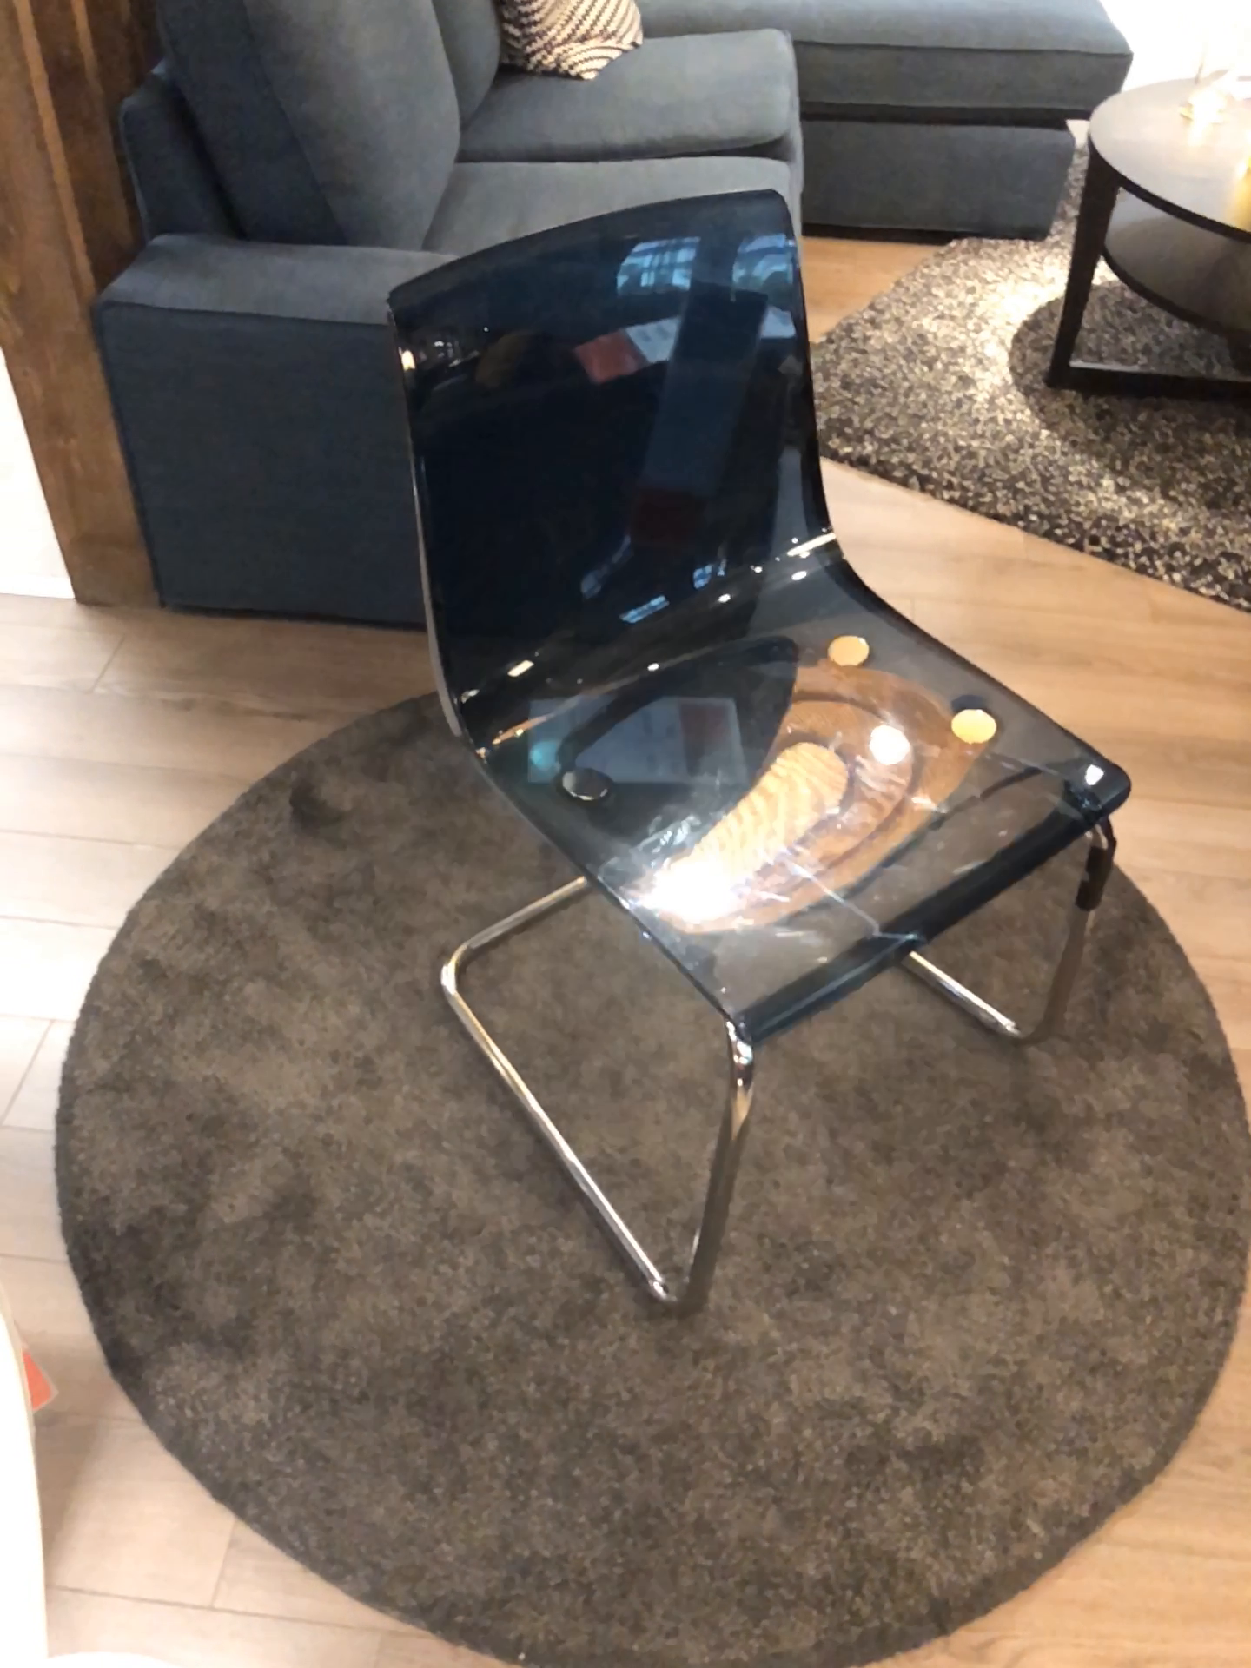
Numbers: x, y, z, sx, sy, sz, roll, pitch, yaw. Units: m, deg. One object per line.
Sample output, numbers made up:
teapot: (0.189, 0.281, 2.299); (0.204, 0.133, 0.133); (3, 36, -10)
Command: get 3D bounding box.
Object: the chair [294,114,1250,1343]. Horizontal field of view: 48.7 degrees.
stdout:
chair: (0.130, -0.084, 1.293); (0.581, 0.867, 0.501); (-29, 53, -28)
